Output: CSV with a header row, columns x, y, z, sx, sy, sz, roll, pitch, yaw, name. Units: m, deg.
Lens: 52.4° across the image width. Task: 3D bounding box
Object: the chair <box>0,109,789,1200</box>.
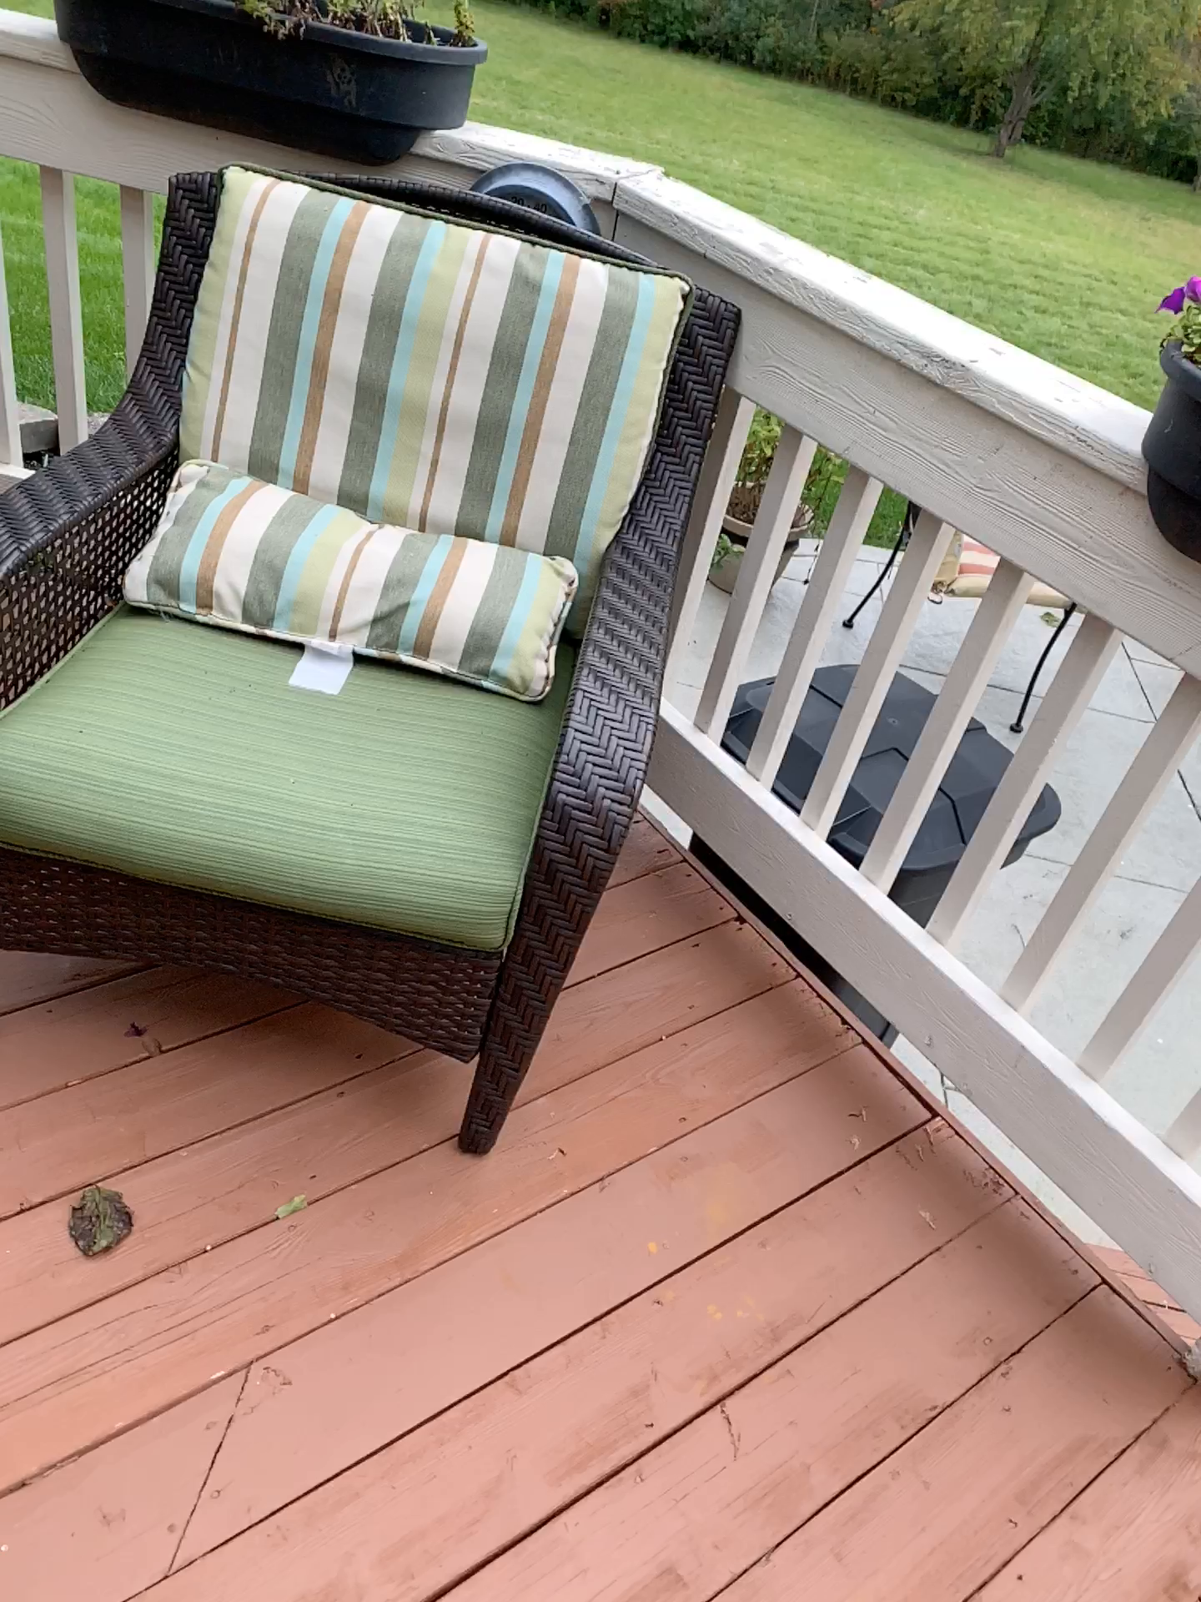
x,y,z,sx,sy,sz,roll,pitch,yaw,name
-0.285,-0.225,1.458,0.810,0.823,0.865,13,36,0,chair
